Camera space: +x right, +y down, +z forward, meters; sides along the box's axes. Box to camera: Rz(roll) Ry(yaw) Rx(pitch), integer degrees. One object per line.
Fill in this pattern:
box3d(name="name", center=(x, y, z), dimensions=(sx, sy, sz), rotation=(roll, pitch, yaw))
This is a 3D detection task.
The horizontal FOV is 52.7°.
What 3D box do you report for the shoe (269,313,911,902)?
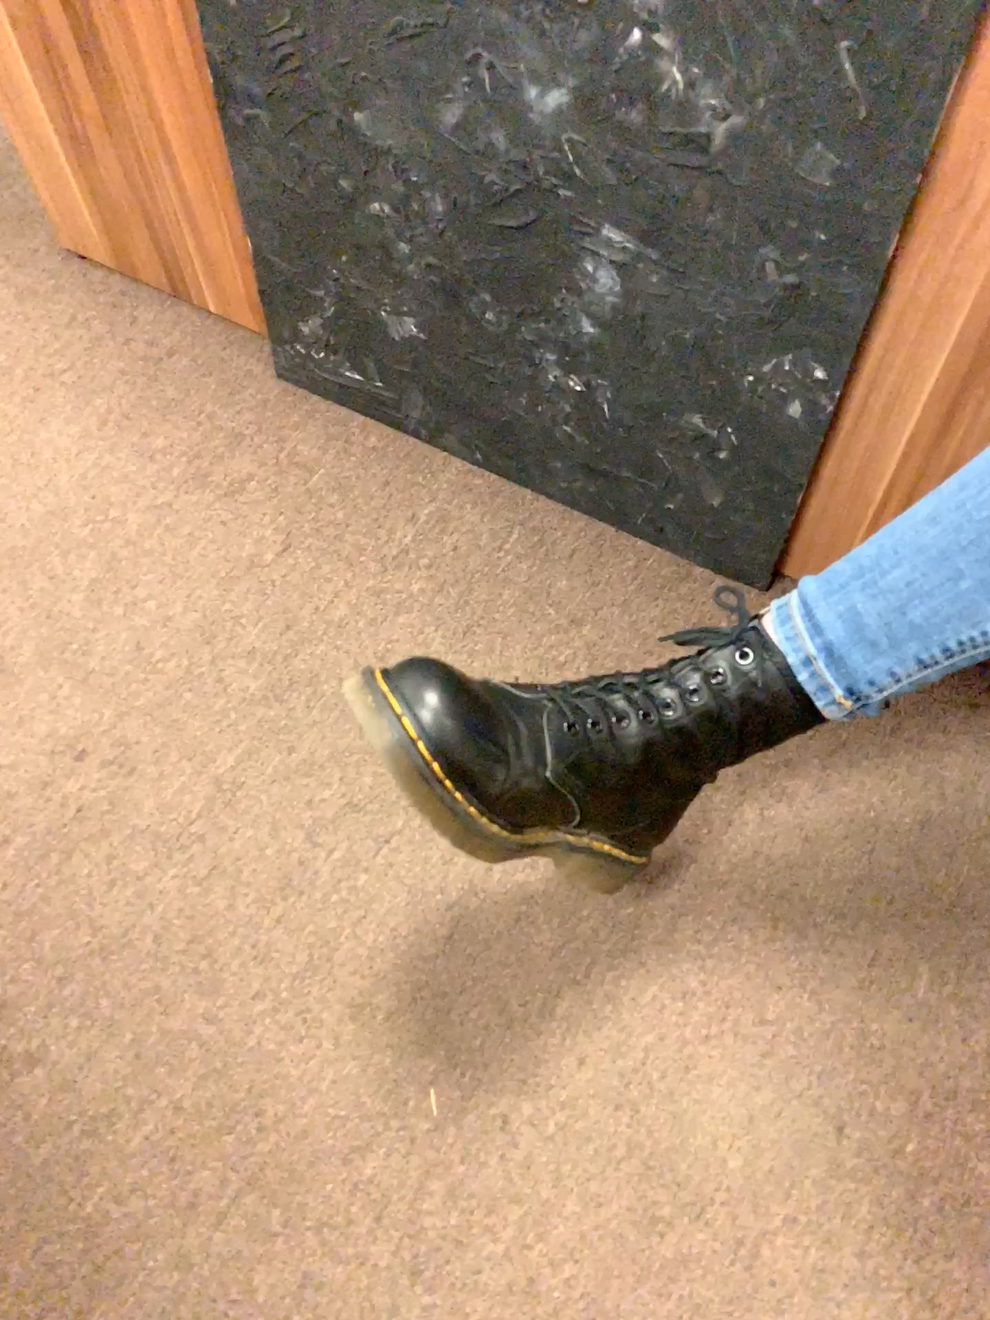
box3d(name="shoe", center=(0.089, 0.015, 0.581), dimensions=(0.230, 0.369, 0.120), rotation=(-36, 61, 12))
